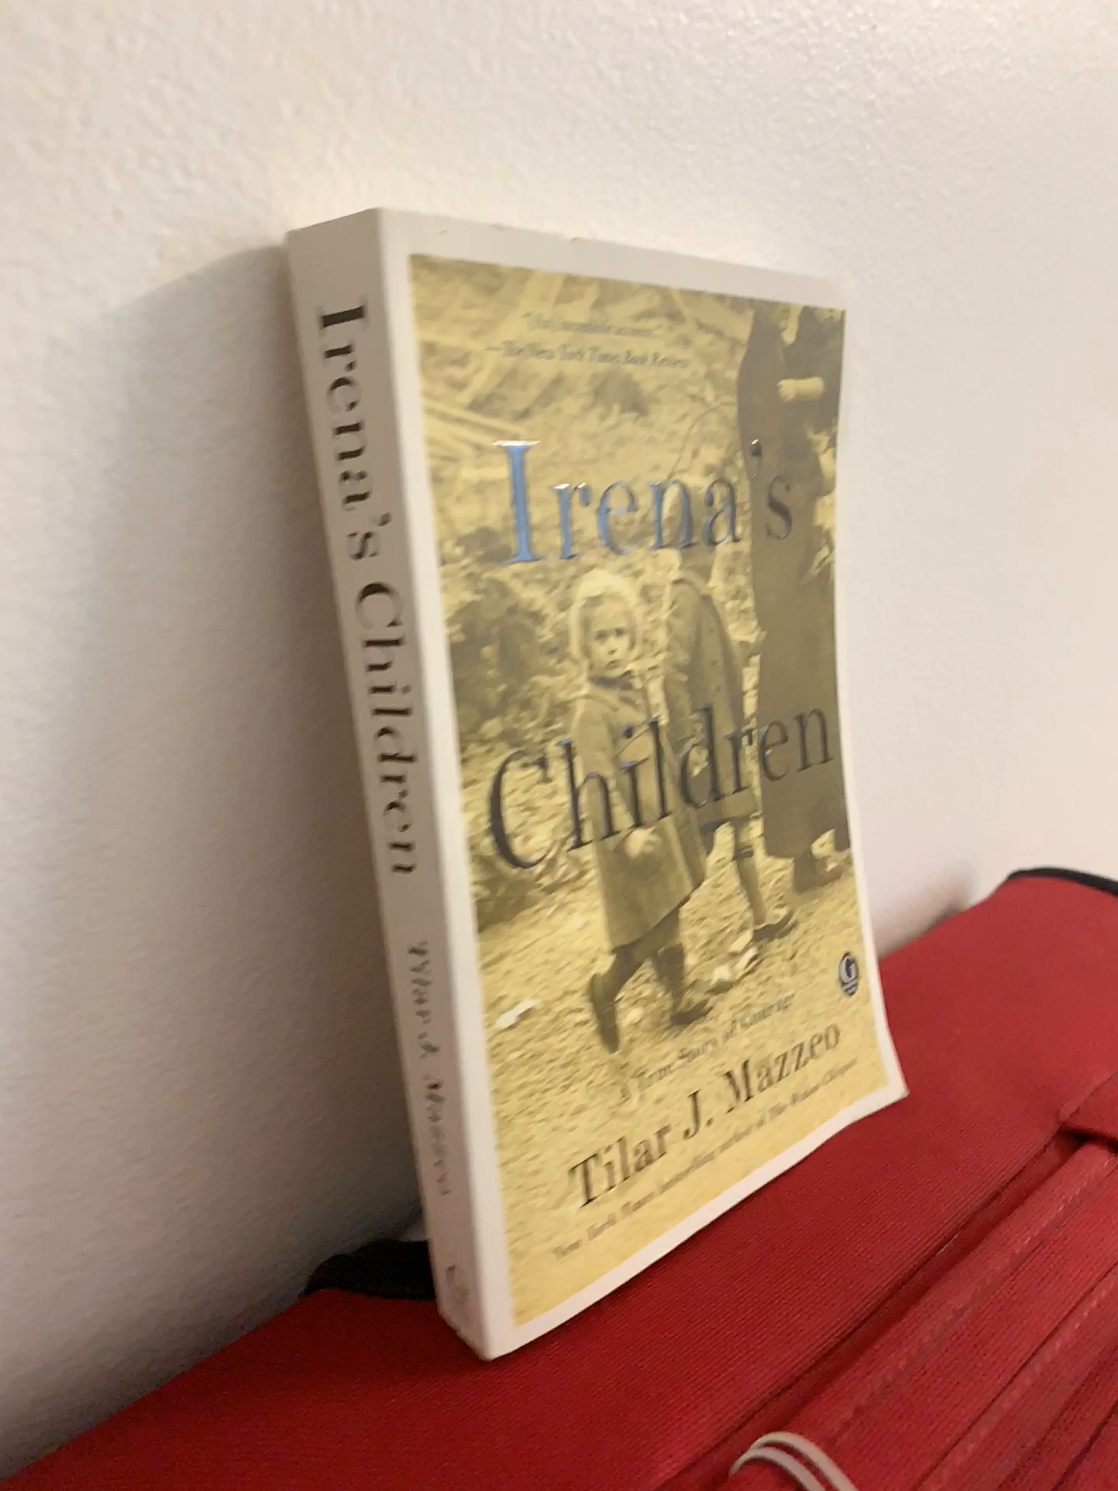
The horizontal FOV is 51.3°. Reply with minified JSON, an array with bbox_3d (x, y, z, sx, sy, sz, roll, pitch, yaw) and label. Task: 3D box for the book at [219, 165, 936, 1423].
[{"bbox_3d":[0.024,0.001,0.270,0.171,0.229,0.030,-15,14,-39],"label":"book"}]
